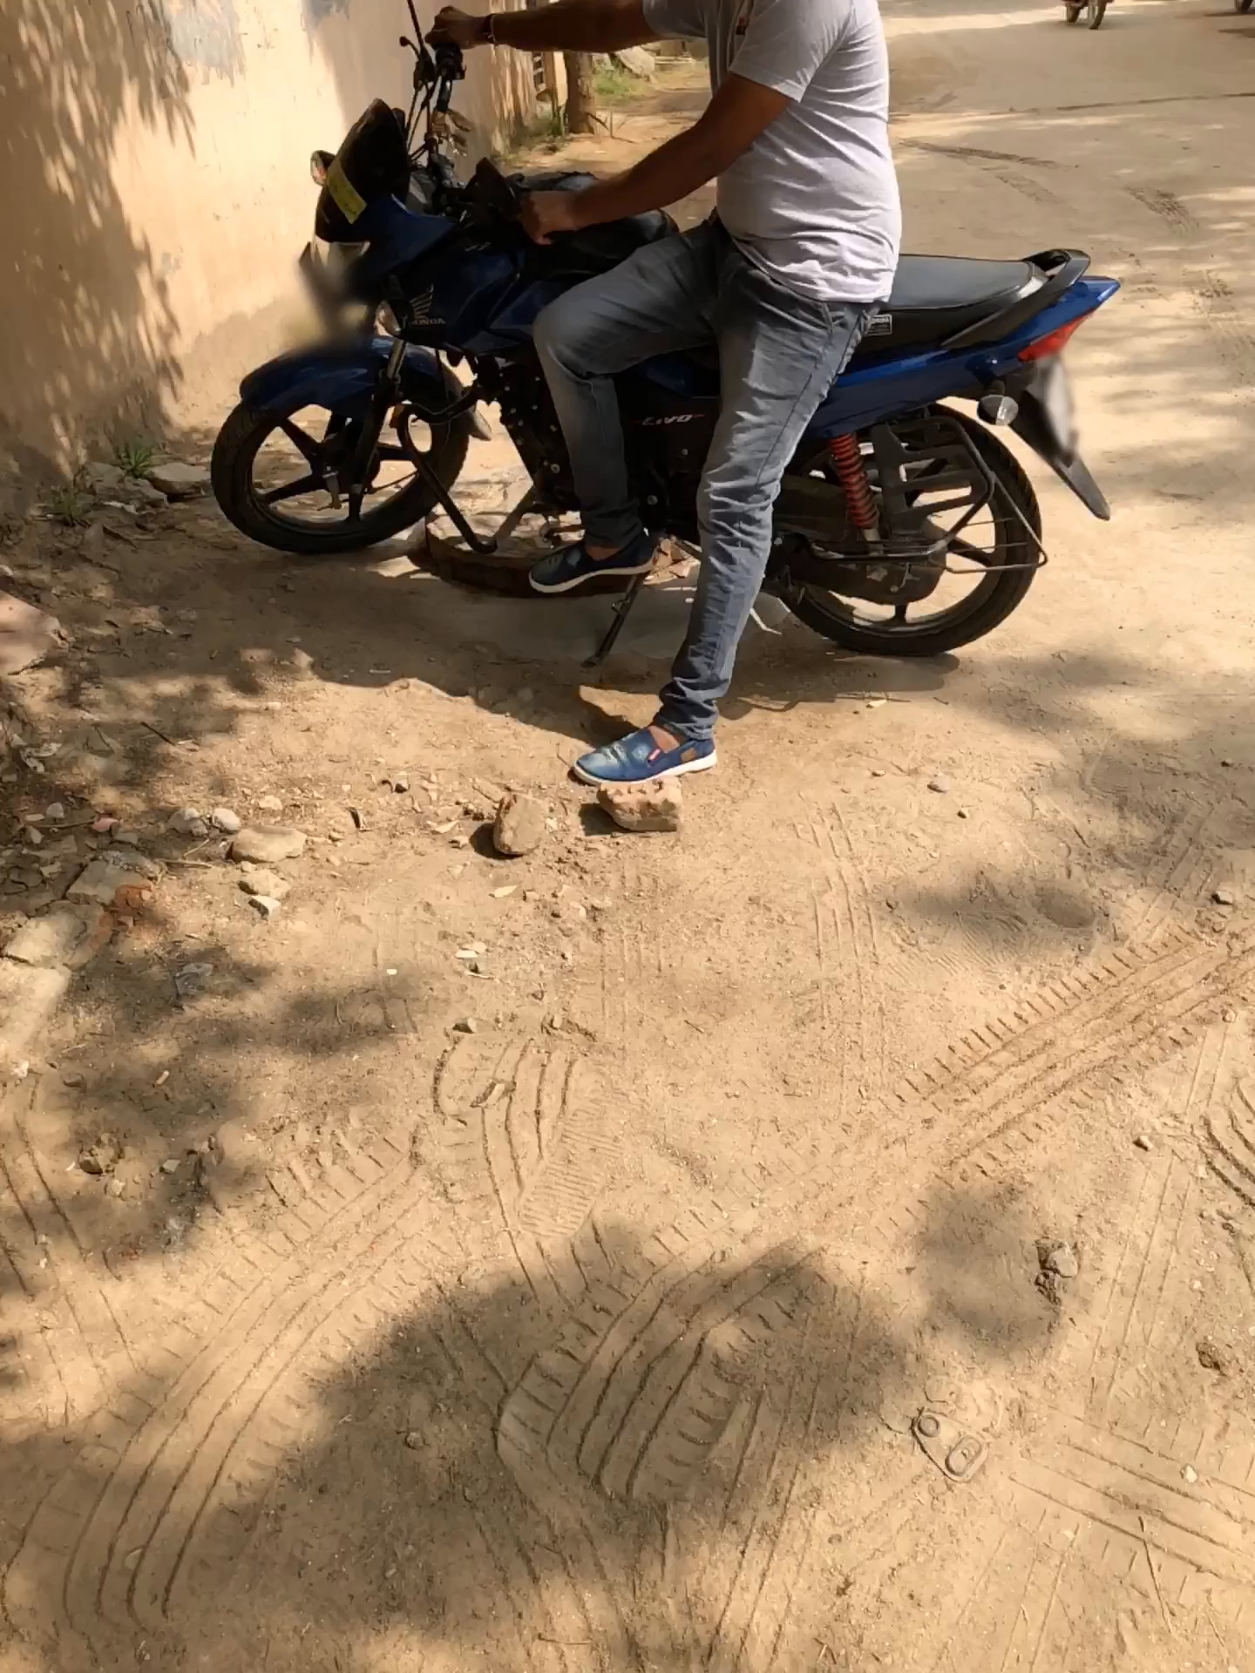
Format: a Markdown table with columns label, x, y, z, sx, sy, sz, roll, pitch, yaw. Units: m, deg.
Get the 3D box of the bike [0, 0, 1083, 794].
| label | x | y | z | sx | sy | sz | roll | pitch | yaw |
| --- | --- | --- | --- | --- | --- | --- | --- | --- | --- |
| bike | -0.124 | -0.925 | 2.705 | 1.782 | 1.242 | 0.744 | 8 | 35 | 15 |
